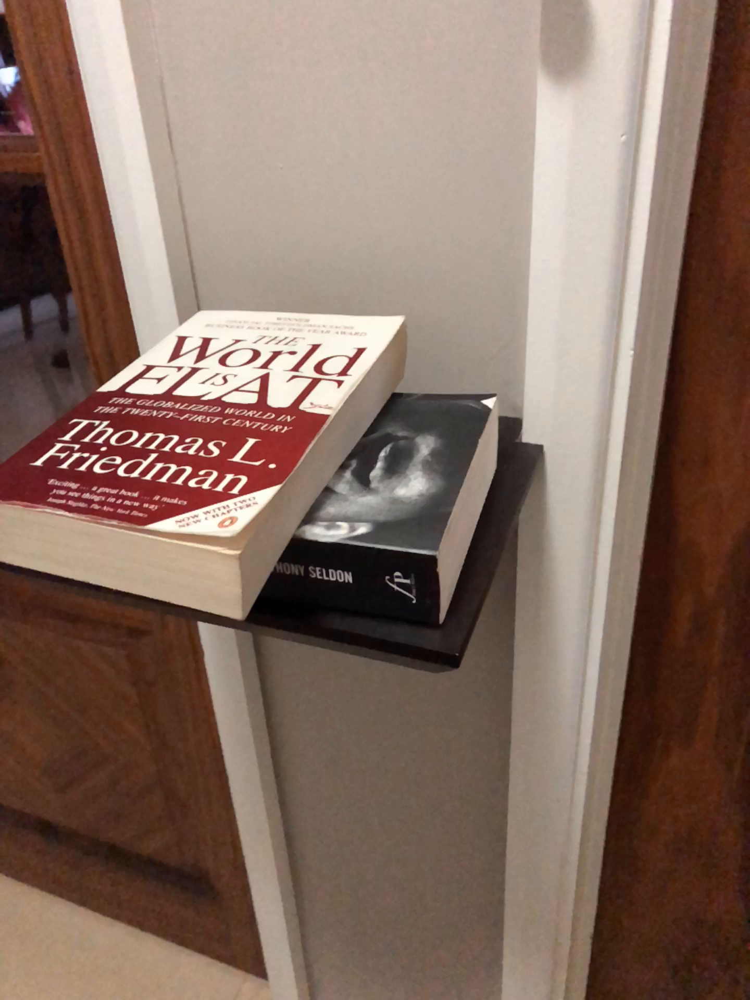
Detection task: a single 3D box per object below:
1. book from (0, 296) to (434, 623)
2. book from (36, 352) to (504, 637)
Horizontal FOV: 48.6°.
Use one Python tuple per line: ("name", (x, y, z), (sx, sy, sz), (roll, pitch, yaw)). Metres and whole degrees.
("book", (-0.073, -0.038, 0.393), (0.140, 0.040, 0.211), (7, 36, 22))
("book", (-0.044, -0.014, 0.437), (0.200, 0.040, 0.151), (7, 42, 14))
